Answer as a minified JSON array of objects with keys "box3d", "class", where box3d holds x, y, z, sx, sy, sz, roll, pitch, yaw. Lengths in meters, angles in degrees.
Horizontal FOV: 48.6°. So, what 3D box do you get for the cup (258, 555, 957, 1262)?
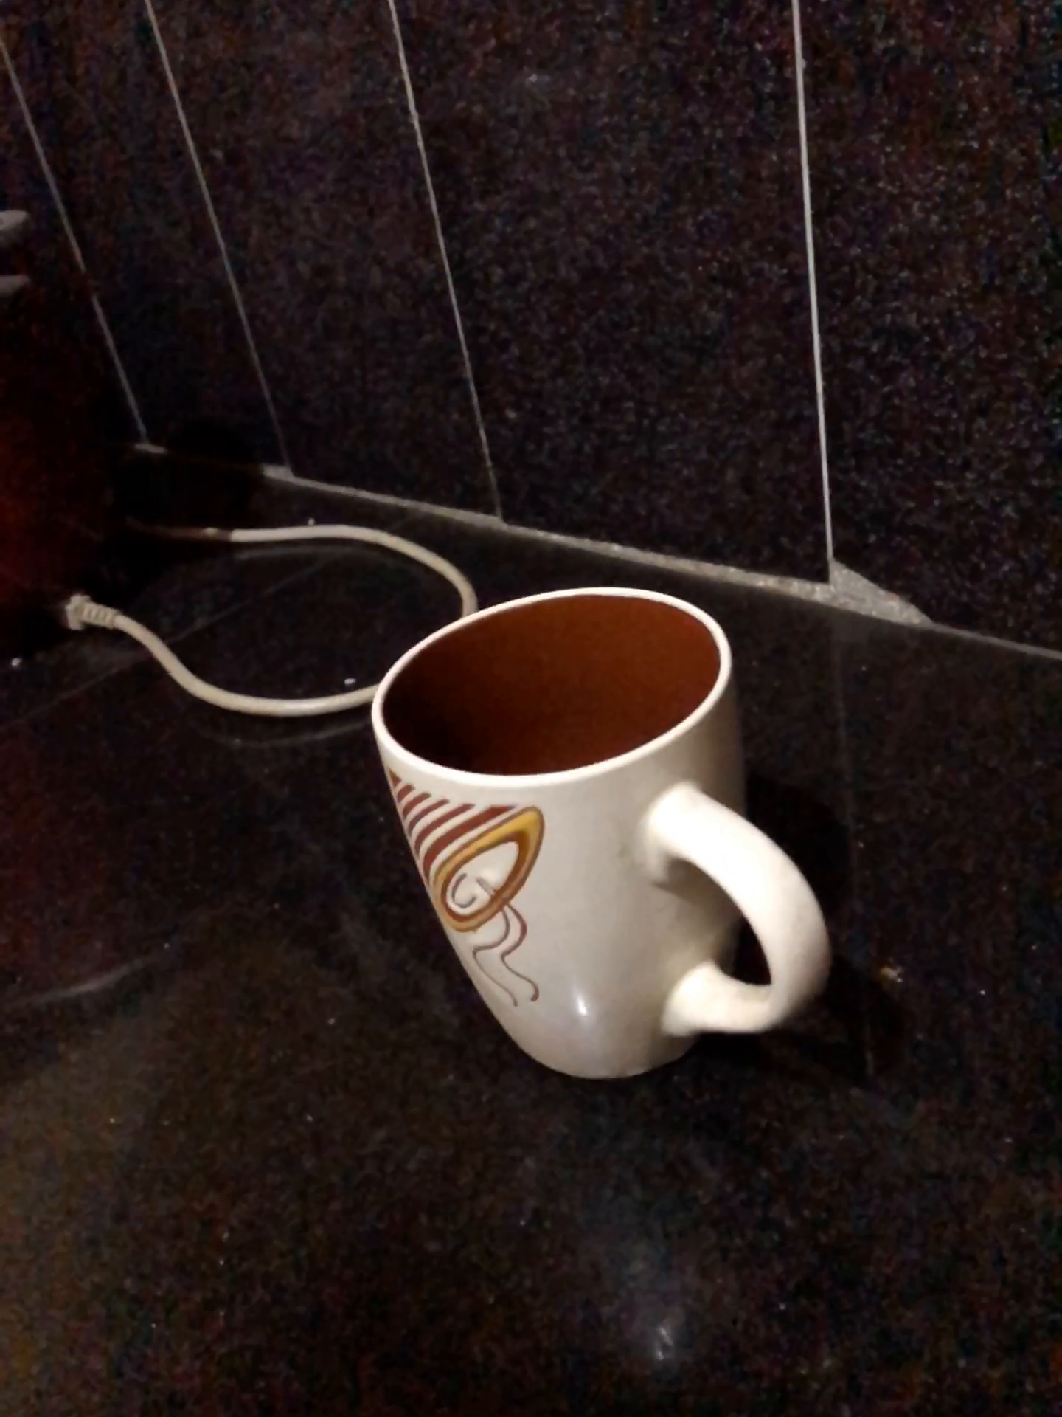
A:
[{"box3d":[0.020,0.034,0.273,0.090,0.089,0.120,-35,37,-32],"class":"cup"}]
